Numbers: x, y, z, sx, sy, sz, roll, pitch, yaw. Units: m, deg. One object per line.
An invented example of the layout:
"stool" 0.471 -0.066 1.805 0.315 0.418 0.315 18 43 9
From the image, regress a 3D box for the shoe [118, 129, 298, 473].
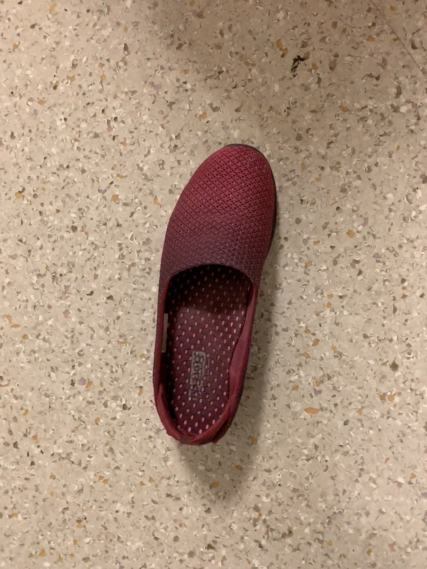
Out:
"shoe" 0.001 0.010 0.351 0.091 0.091 0.229 10 92 8
